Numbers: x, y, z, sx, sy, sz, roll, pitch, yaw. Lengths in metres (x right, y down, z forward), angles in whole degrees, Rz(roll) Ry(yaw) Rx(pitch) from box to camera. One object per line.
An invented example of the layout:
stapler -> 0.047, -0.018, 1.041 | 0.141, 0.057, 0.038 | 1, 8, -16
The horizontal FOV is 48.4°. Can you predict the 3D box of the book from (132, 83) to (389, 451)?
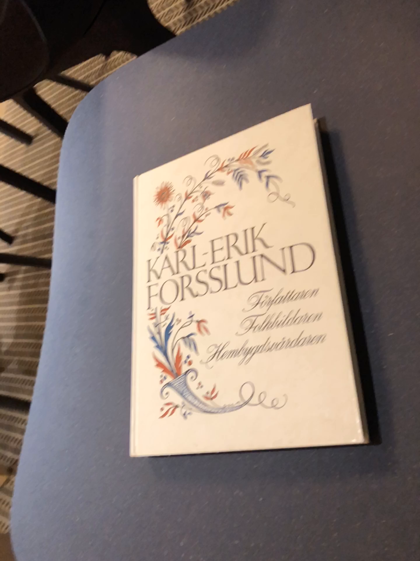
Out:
book -> 0.019, -0.005, 0.332 | 0.164, 0.028, 0.232 | -15, 66, 30
